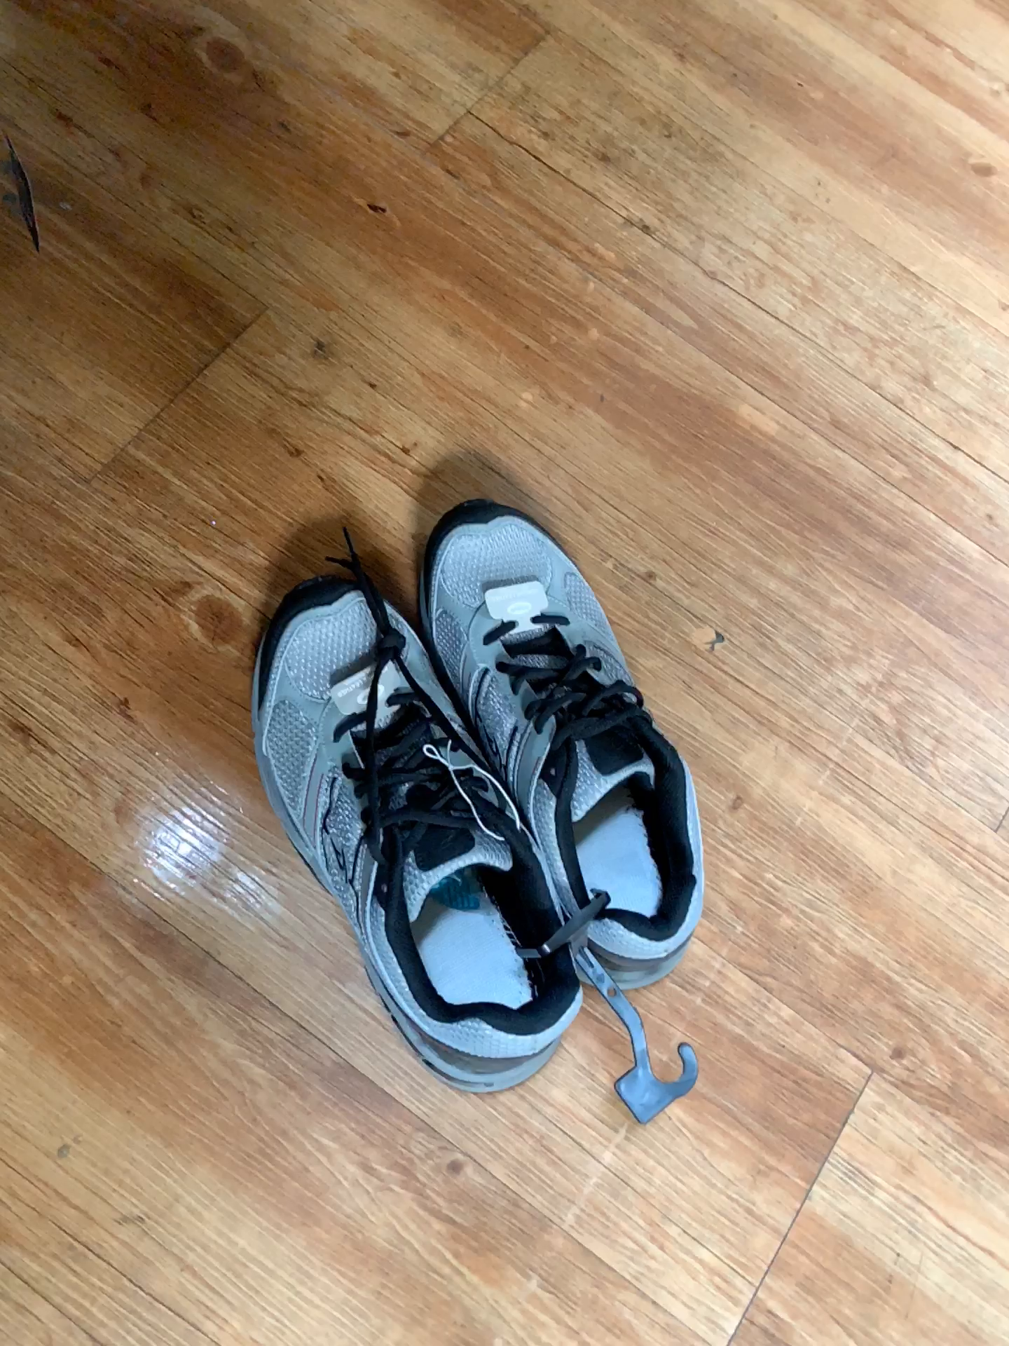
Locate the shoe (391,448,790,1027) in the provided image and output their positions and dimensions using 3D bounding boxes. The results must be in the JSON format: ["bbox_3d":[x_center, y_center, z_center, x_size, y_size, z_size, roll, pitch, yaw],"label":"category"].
[{"bbox_3d":[0.038,0.035,0.613,0.117,0.089,0.307,-17,76,-13],"label":"shoe"}]

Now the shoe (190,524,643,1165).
[{"bbox_3d":[-0.057,0.089,0.585,0.123,0.099,0.308,-22,77,-14],"label":"shoe"}]
